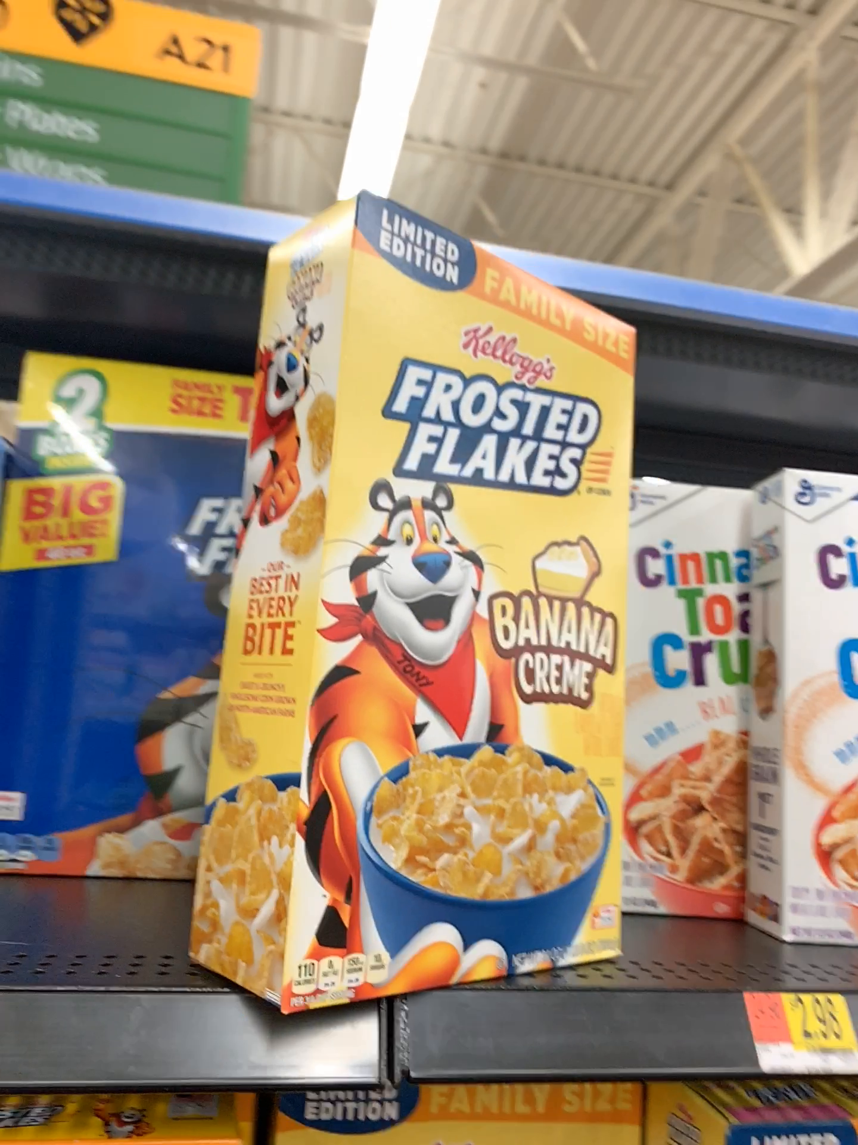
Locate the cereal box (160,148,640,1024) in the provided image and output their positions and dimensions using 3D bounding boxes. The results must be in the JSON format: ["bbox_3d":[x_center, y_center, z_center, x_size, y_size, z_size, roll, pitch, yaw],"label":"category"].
[{"bbox_3d":[0.003,0.010,0.435,0.200,0.341,0.080,13,-13,-39],"label":"cereal box"}]
